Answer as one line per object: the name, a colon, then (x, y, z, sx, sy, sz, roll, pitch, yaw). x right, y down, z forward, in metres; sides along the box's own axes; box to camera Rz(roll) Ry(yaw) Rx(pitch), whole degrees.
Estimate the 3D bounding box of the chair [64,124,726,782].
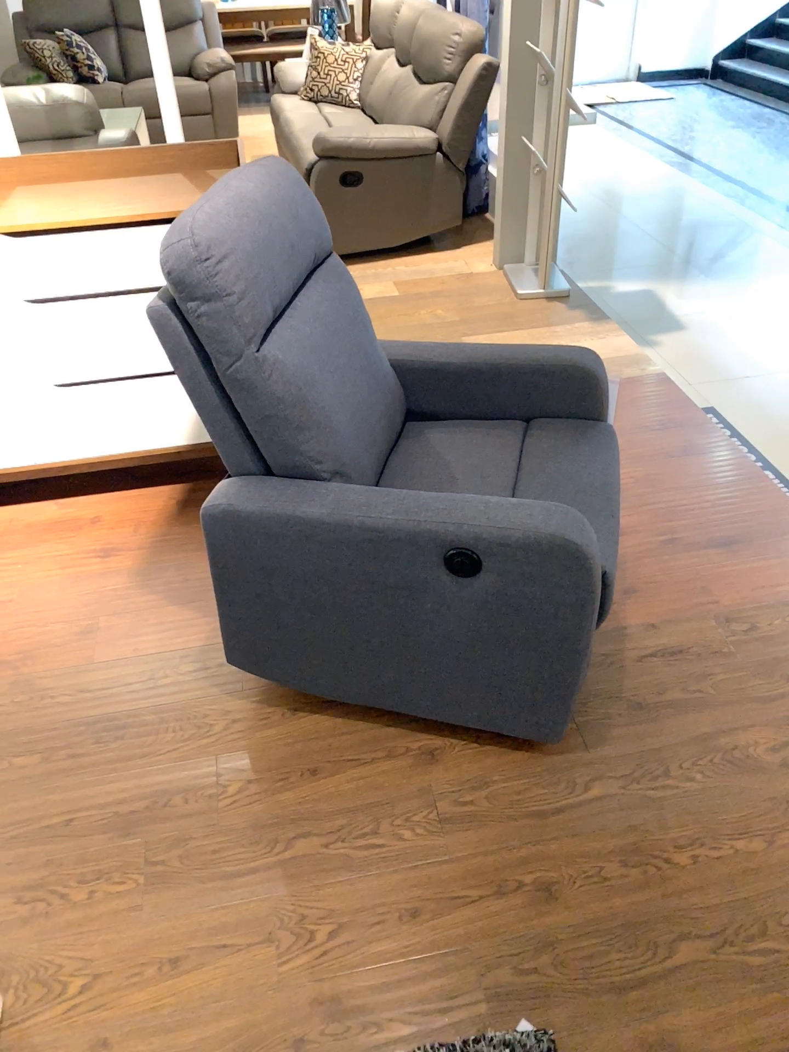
chair: (0.078, -0.212, 1.697, 0.880, 0.966, 0.934, 6, 39, 10)
